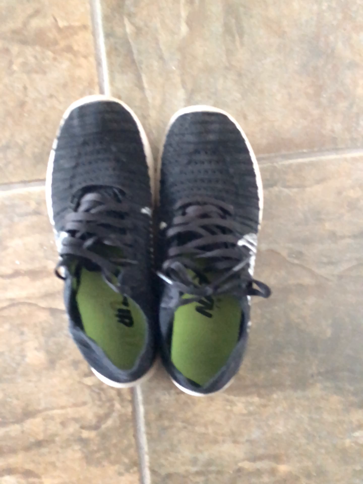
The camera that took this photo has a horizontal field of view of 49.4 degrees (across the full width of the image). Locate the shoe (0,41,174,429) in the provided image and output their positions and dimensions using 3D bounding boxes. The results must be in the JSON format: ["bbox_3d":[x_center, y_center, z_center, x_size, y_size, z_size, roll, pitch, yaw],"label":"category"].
[{"bbox_3d":[-0.074,-0.006,0.324,0.110,0.100,0.260,-6,88,-1],"label":"shoe"}]

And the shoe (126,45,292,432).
[{"bbox_3d":[0.019,-0.002,0.316,0.110,0.100,0.260,1,88,-1],"label":"shoe"}]
